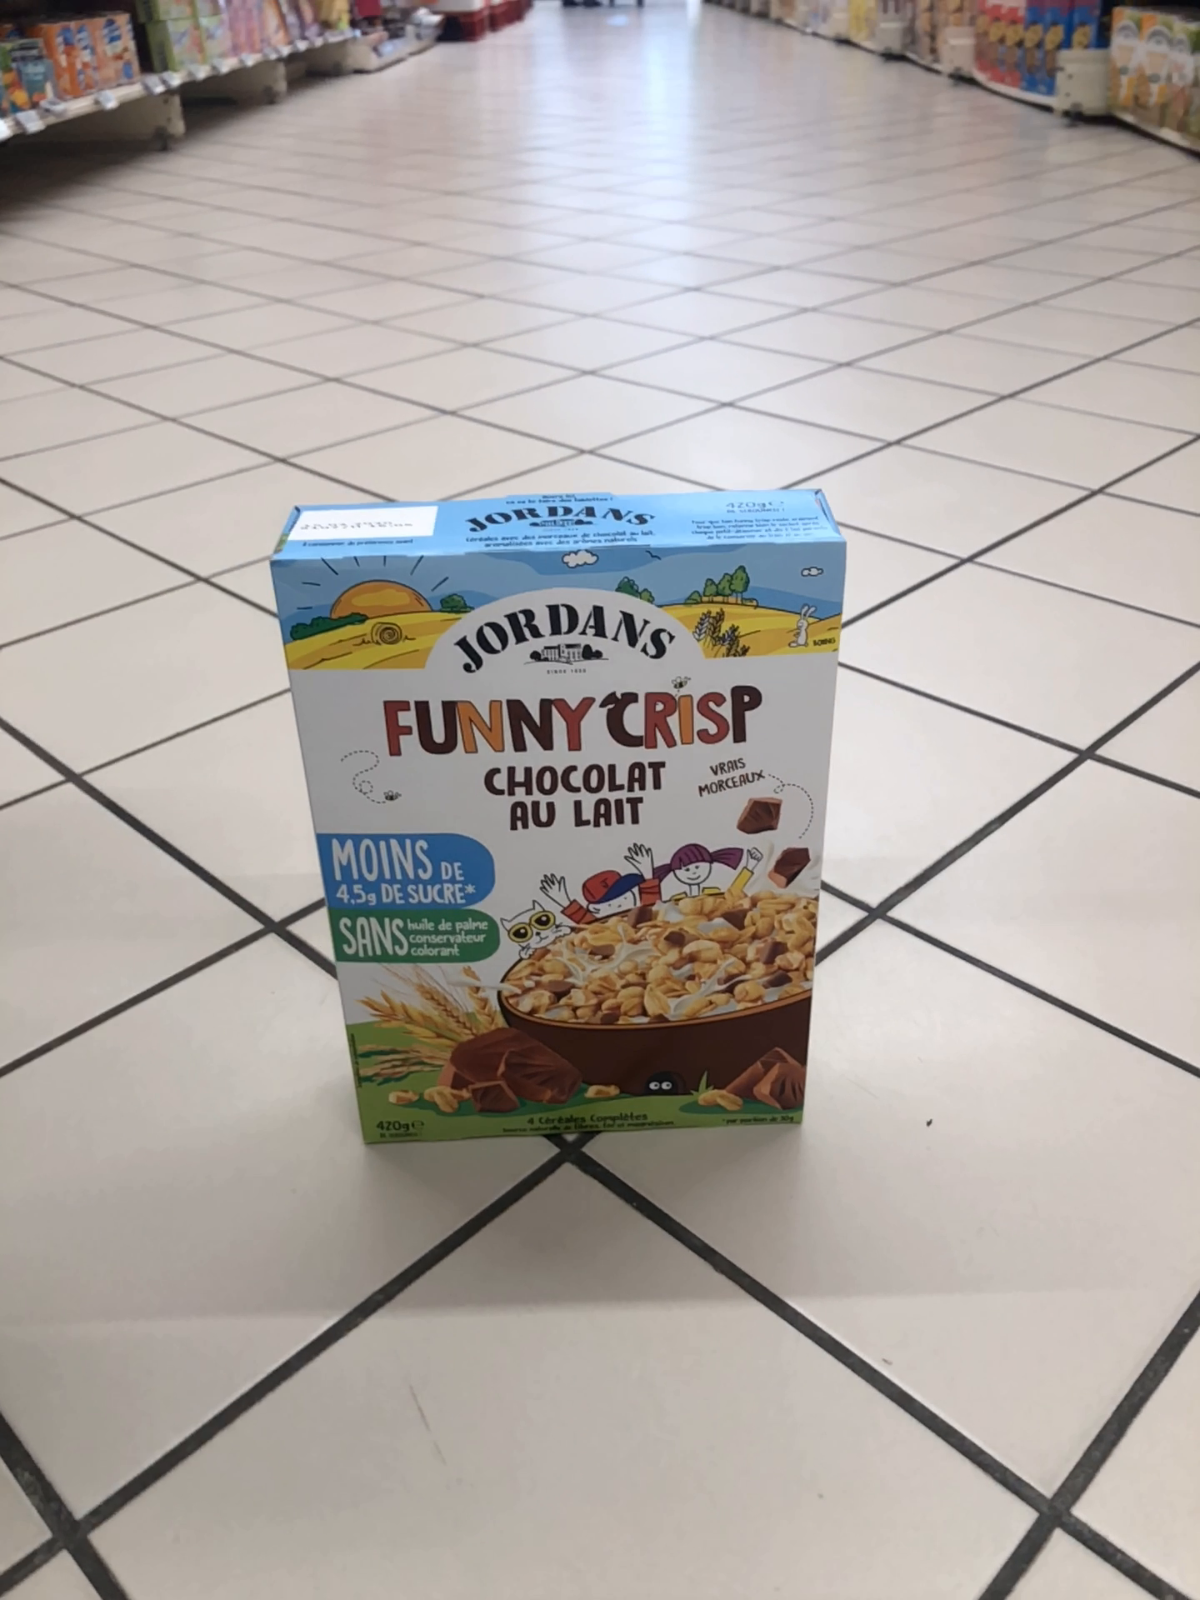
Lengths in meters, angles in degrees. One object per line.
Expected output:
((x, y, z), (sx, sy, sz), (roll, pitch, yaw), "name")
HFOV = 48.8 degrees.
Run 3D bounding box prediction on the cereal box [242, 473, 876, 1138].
((-0.009, 0.010, 0.461), (0.180, 0.229, 0.060), (-2, 31, 0), "cereal box")
